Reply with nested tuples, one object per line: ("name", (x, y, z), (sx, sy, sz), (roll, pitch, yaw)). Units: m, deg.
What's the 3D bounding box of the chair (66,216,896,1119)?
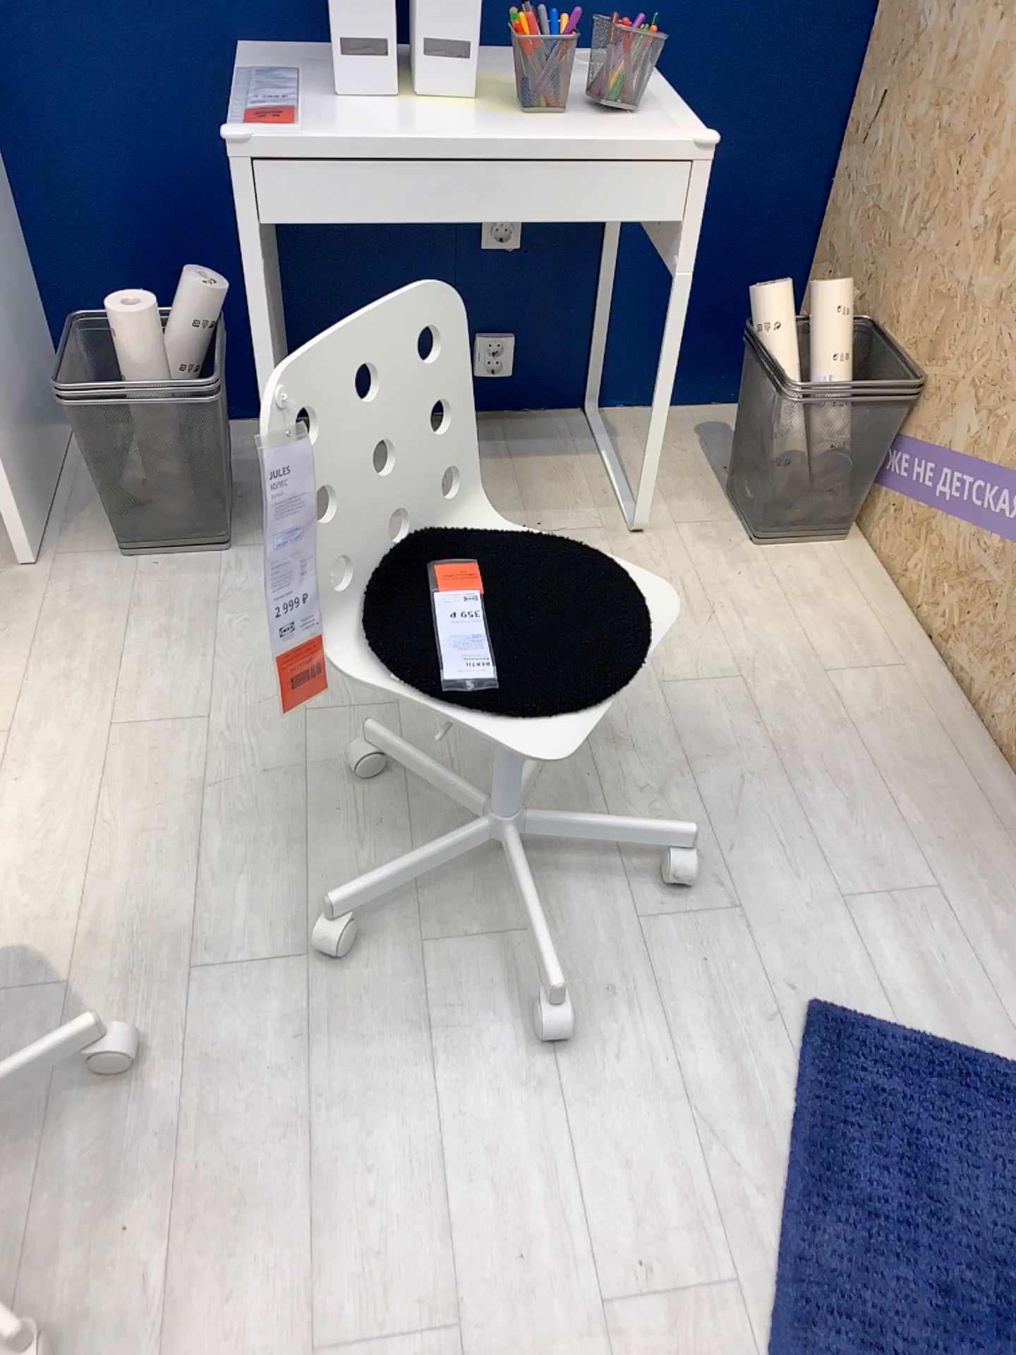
("chair", (-0.003, -0.026, 1.264), (0.590, 0.736, 0.603), (22, 47, 18))
